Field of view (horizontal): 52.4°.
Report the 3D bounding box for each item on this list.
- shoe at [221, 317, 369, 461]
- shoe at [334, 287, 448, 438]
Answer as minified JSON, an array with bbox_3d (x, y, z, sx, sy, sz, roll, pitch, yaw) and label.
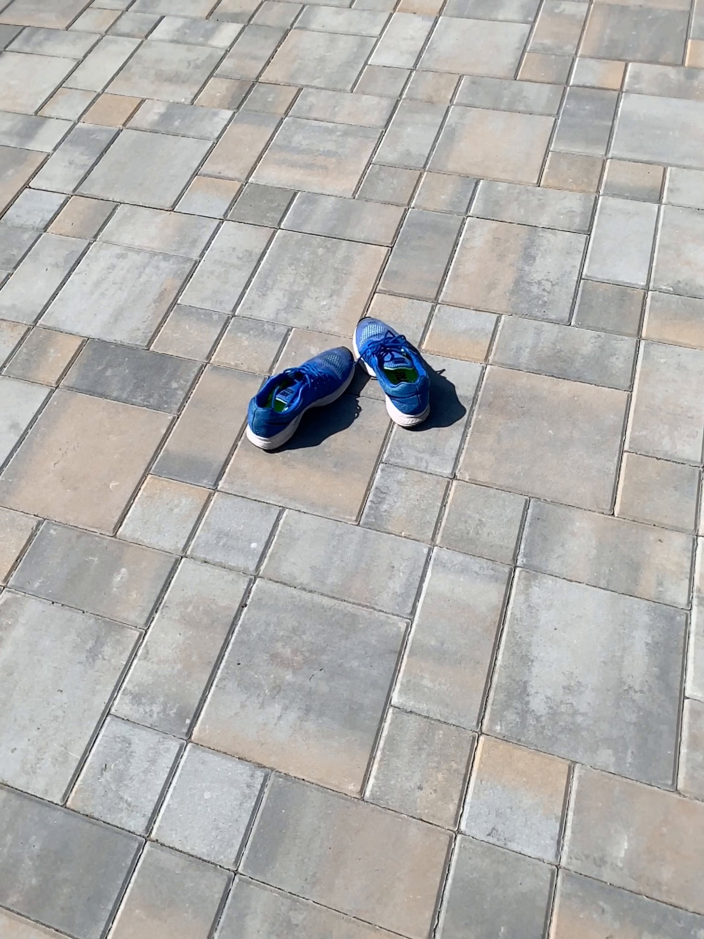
[{"bbox_3d":[-0.105,-0.161,1.396,0.120,0.080,0.280,36,67,22],"label":"shoe"},{"bbox_3d":[0.073,-0.216,1.419,0.120,0.110,0.271,-21,59,-9],"label":"shoe"}]
